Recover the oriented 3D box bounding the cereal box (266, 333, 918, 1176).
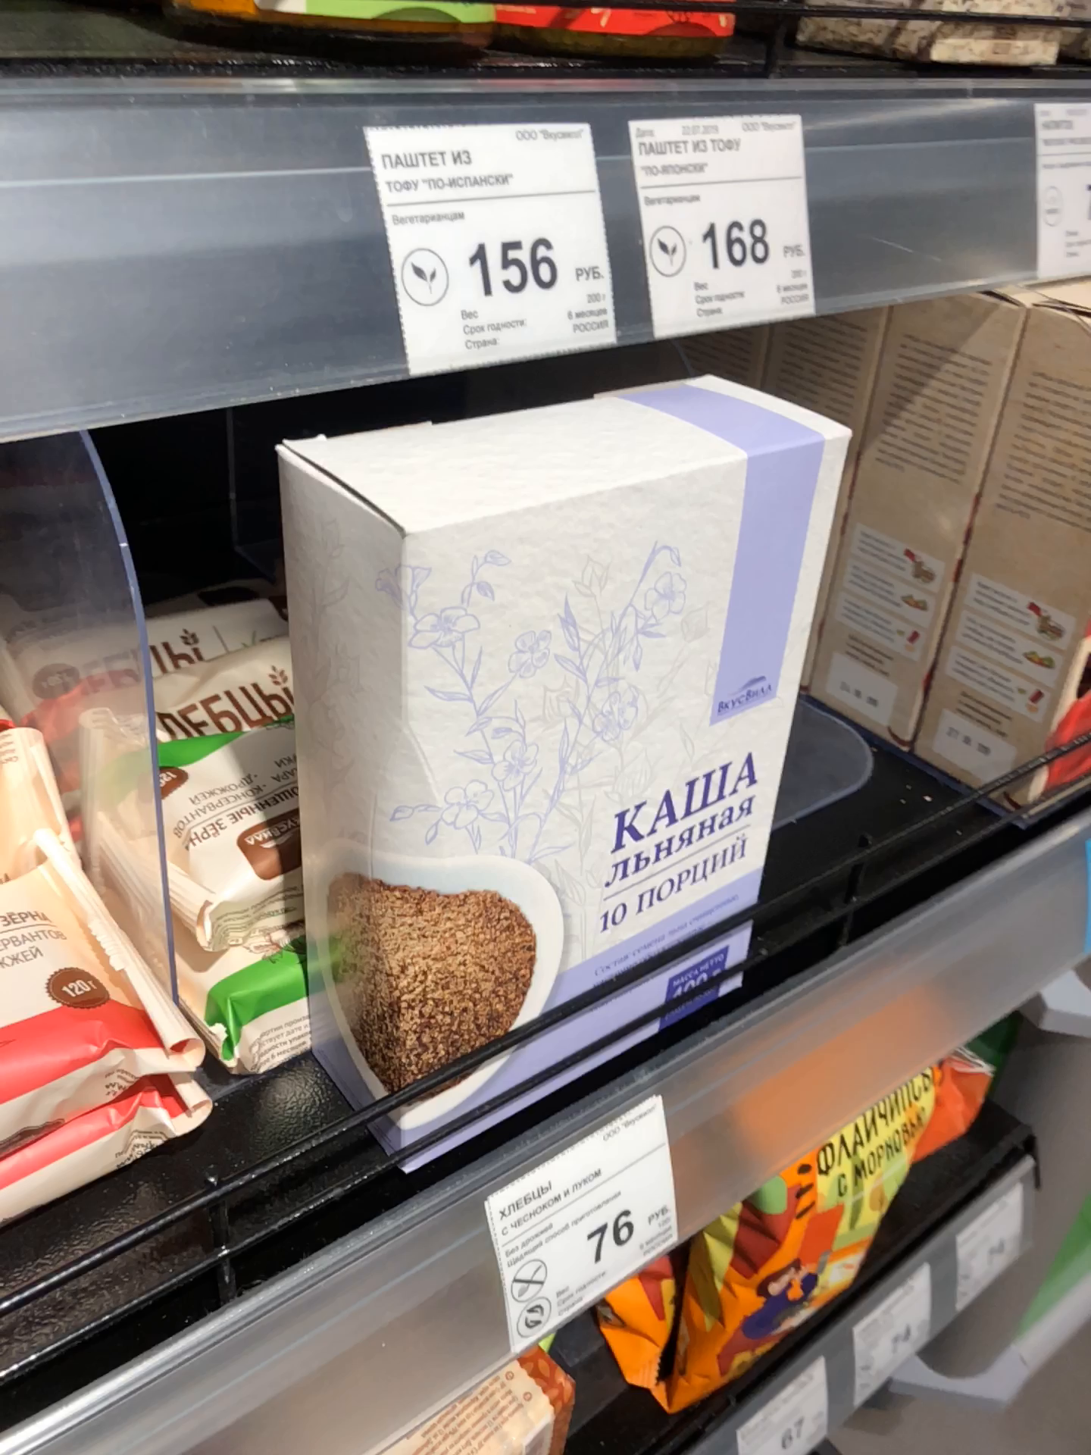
[{"bbox_3d":[0.011,0.005,0.323,0.150,0.189,0.050,-20,39,-33],"label":"cereal box"}]
